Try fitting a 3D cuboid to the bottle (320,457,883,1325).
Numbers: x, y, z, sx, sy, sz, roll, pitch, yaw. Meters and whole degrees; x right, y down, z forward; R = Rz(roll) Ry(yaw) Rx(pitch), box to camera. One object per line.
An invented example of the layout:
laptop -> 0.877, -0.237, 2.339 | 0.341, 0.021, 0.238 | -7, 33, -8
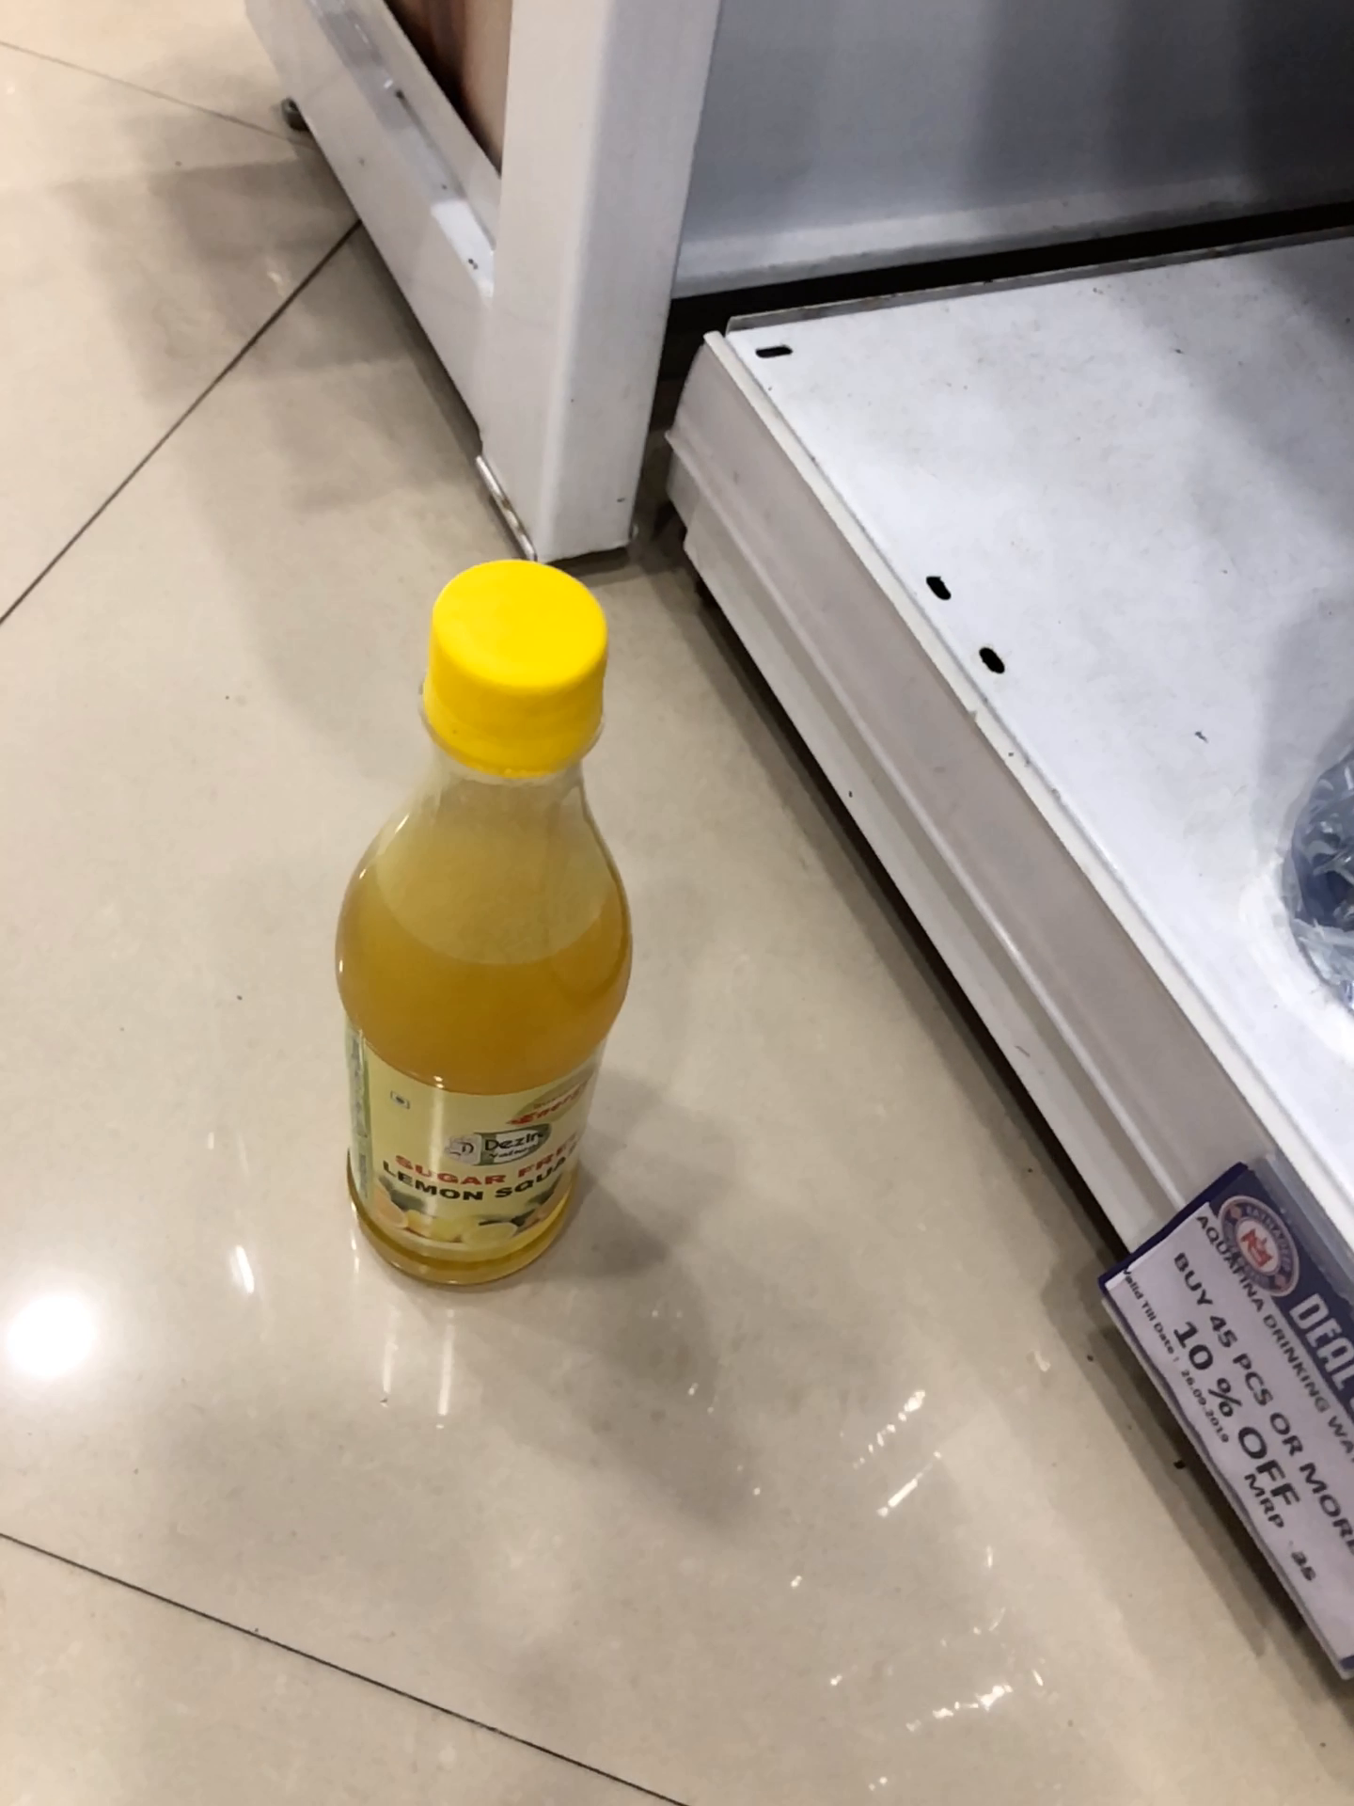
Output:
bottle -> -0.032, 0.016, 0.342 | 0.080, 0.229, 0.070 | -8, 57, -16
